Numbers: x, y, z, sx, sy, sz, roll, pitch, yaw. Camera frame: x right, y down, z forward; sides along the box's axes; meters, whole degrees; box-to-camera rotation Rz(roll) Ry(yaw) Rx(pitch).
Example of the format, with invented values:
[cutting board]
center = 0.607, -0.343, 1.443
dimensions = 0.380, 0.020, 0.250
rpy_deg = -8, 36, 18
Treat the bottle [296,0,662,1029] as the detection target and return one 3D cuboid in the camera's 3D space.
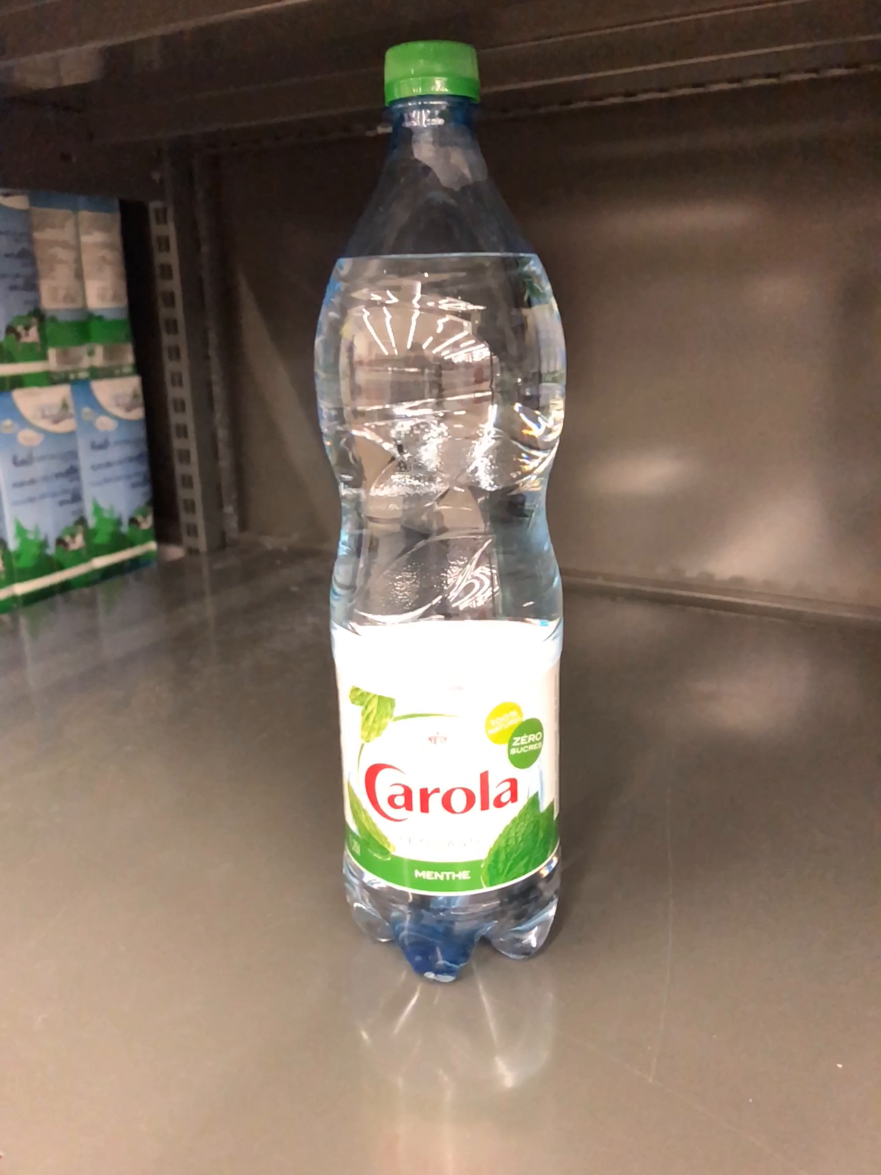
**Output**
[bottle]
center = 0.021, -0.020, 0.359
dimensions = 0.100, 0.339, 0.100
rpy_deg = -1, 16, 0
